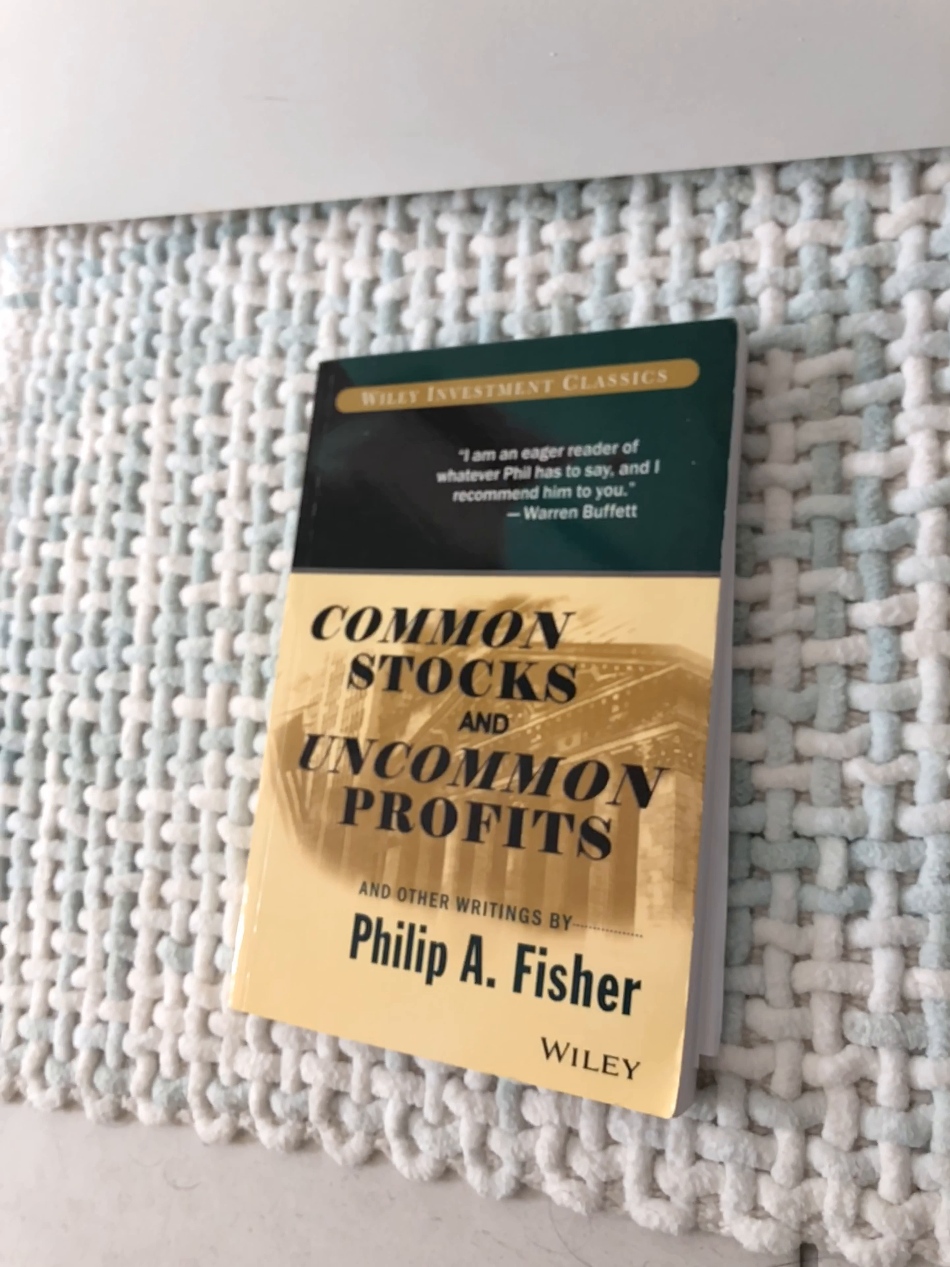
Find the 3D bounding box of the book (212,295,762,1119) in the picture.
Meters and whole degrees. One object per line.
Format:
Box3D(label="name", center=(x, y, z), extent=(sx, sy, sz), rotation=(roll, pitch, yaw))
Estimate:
Box3D(label="book", center=(0.002, 0.014, 0.366), extent=(0.167, 0.026, 0.247), rotation=(2, 80, 27))
